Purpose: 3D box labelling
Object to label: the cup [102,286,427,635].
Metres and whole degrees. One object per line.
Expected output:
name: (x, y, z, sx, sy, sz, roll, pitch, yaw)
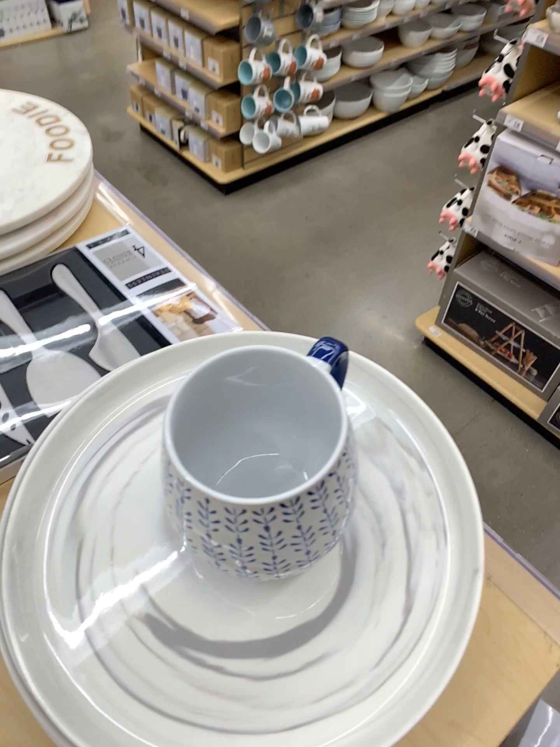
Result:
cup: (-0.004, 0.045, 0.315, 0.104, 0.097, 0.128, 27, 57, 18)
